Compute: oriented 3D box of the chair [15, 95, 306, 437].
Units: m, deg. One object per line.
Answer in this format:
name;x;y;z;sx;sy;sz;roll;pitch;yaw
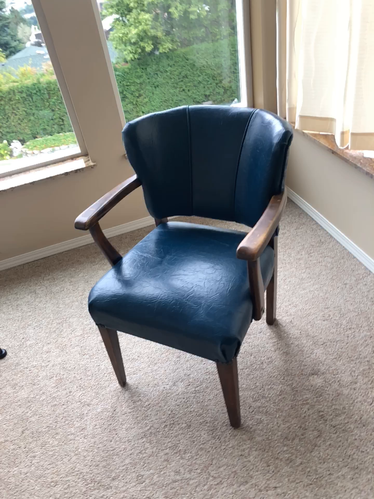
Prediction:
chair;0.017;0.027;1.265;0.531;0.797;0.561;11;42;25
